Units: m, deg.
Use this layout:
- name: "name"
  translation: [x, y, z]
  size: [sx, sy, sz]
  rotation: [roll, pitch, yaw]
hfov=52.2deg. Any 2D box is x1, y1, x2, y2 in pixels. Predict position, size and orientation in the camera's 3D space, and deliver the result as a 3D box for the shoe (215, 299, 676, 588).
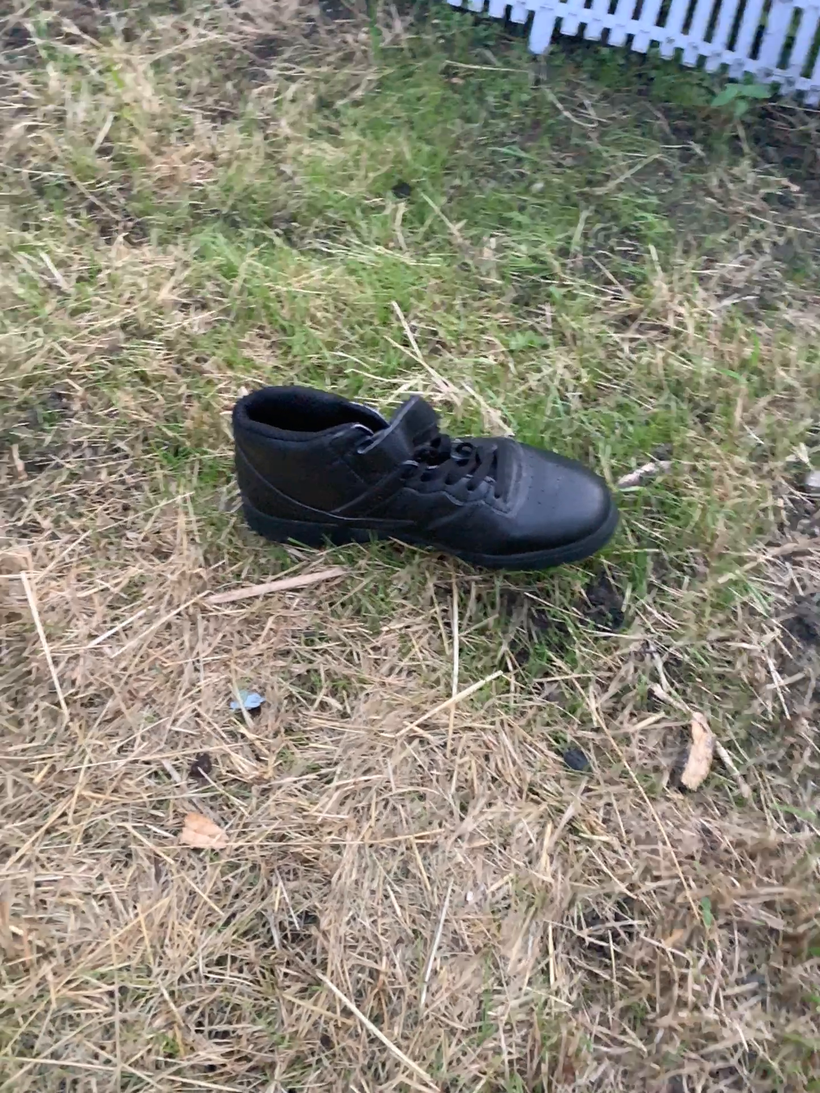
- name: "shoe"
  translation: [0.022, -0.065, 0.556]
  size: [0.260, 0.139, 0.101]
  rotation: [6, 54, 3]
